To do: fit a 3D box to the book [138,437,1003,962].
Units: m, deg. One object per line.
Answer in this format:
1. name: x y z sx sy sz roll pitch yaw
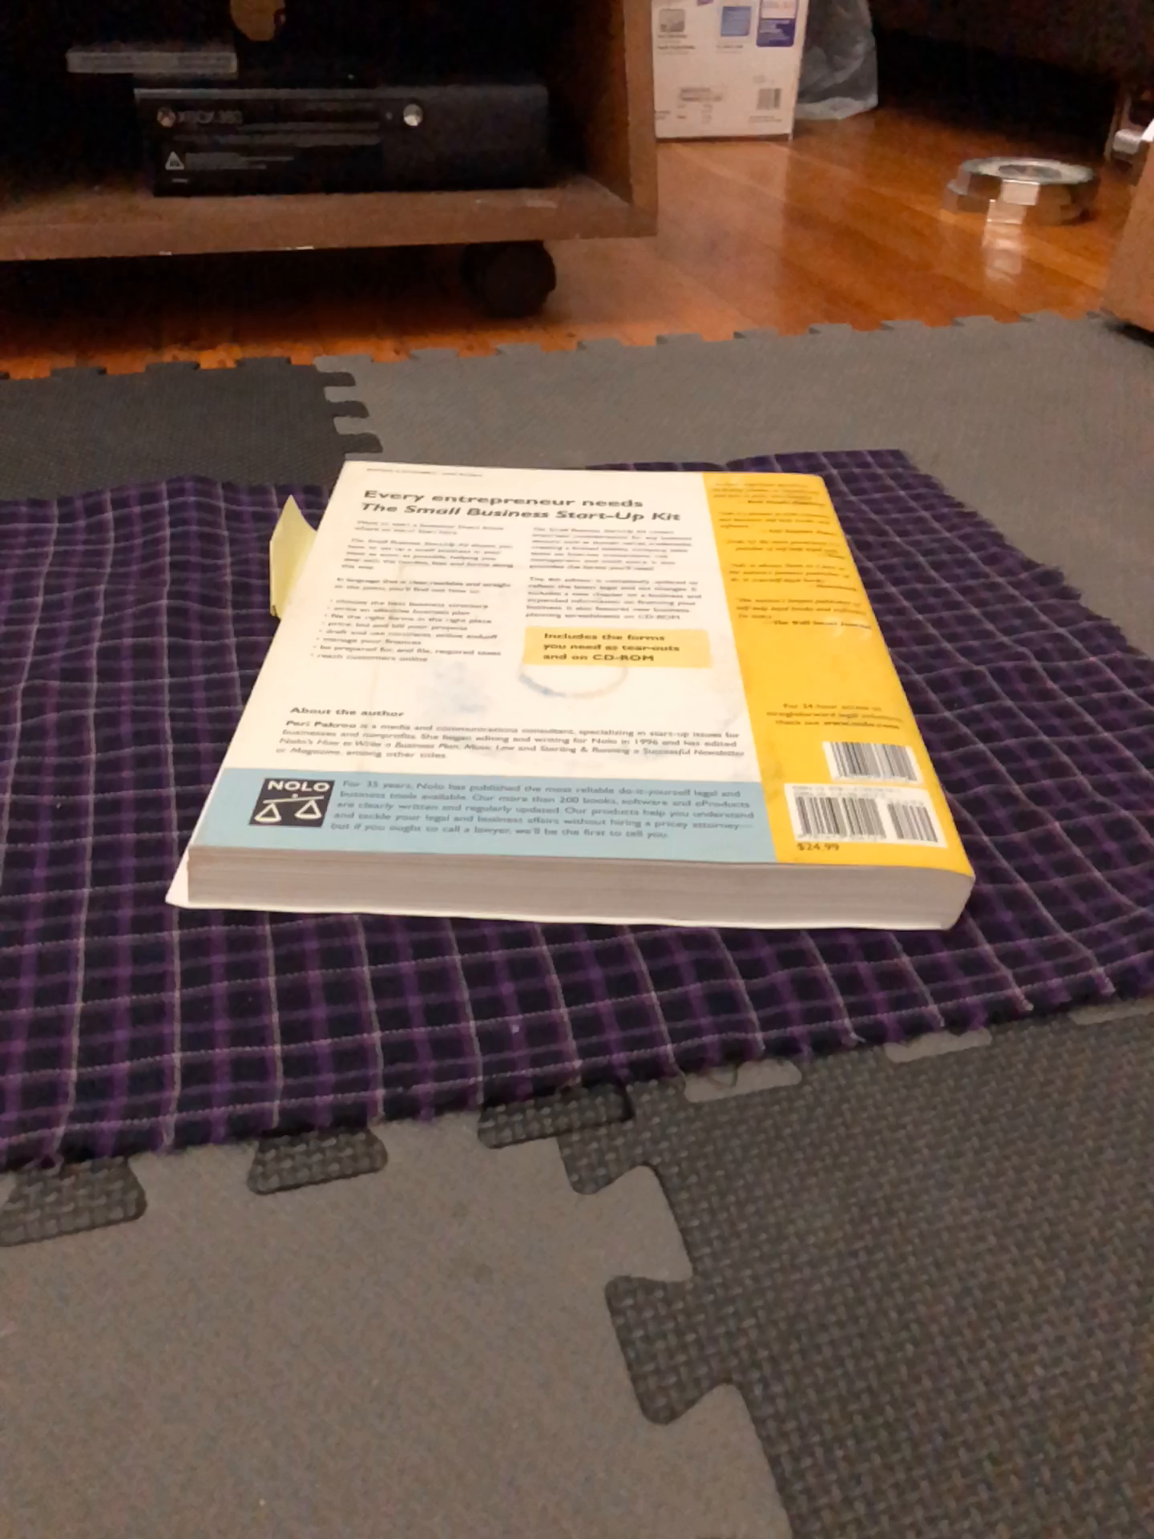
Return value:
1. book: 0.000 -0.051 0.475 0.230 0.030 0.312 2 34 -1
